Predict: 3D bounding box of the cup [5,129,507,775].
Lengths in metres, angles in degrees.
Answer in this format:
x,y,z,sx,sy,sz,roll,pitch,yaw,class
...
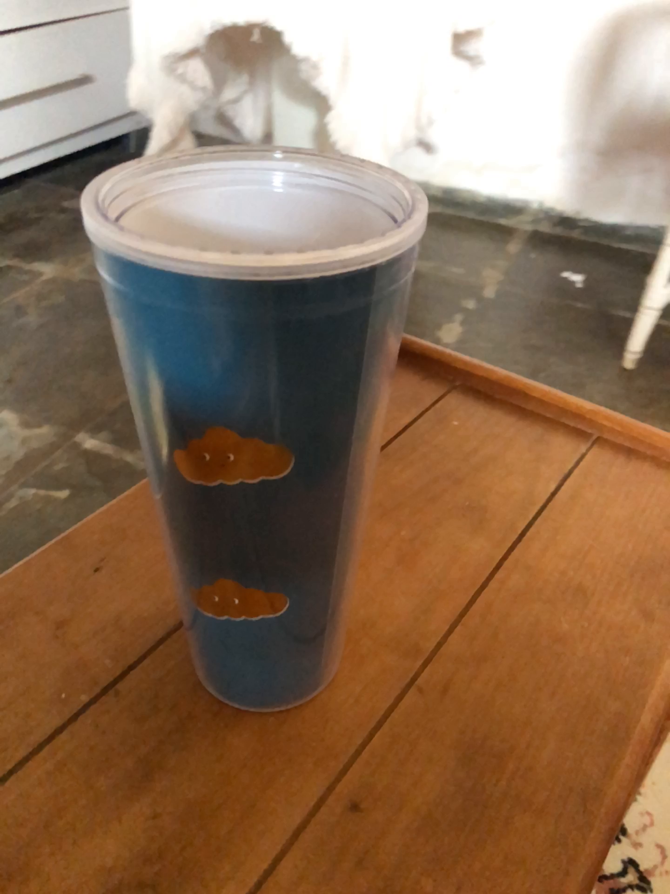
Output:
x,y,z,sx,sy,sz,roll,pitch,yaw,class
-0.025,0.000,0.264,0.100,0.179,0.100,2,37,-1,cup
